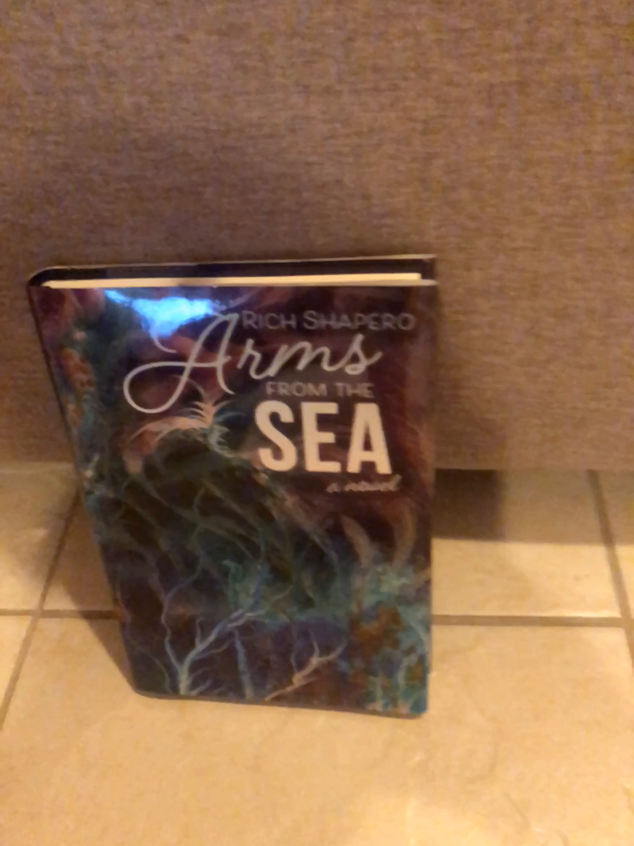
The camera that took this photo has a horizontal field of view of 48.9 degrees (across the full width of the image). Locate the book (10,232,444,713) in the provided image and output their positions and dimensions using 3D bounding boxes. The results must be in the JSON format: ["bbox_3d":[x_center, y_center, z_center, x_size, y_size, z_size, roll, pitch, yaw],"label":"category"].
[{"bbox_3d":[-0.026,0.035,0.312,0.156,0.227,0.030,1,29,8],"label":"book"}]
